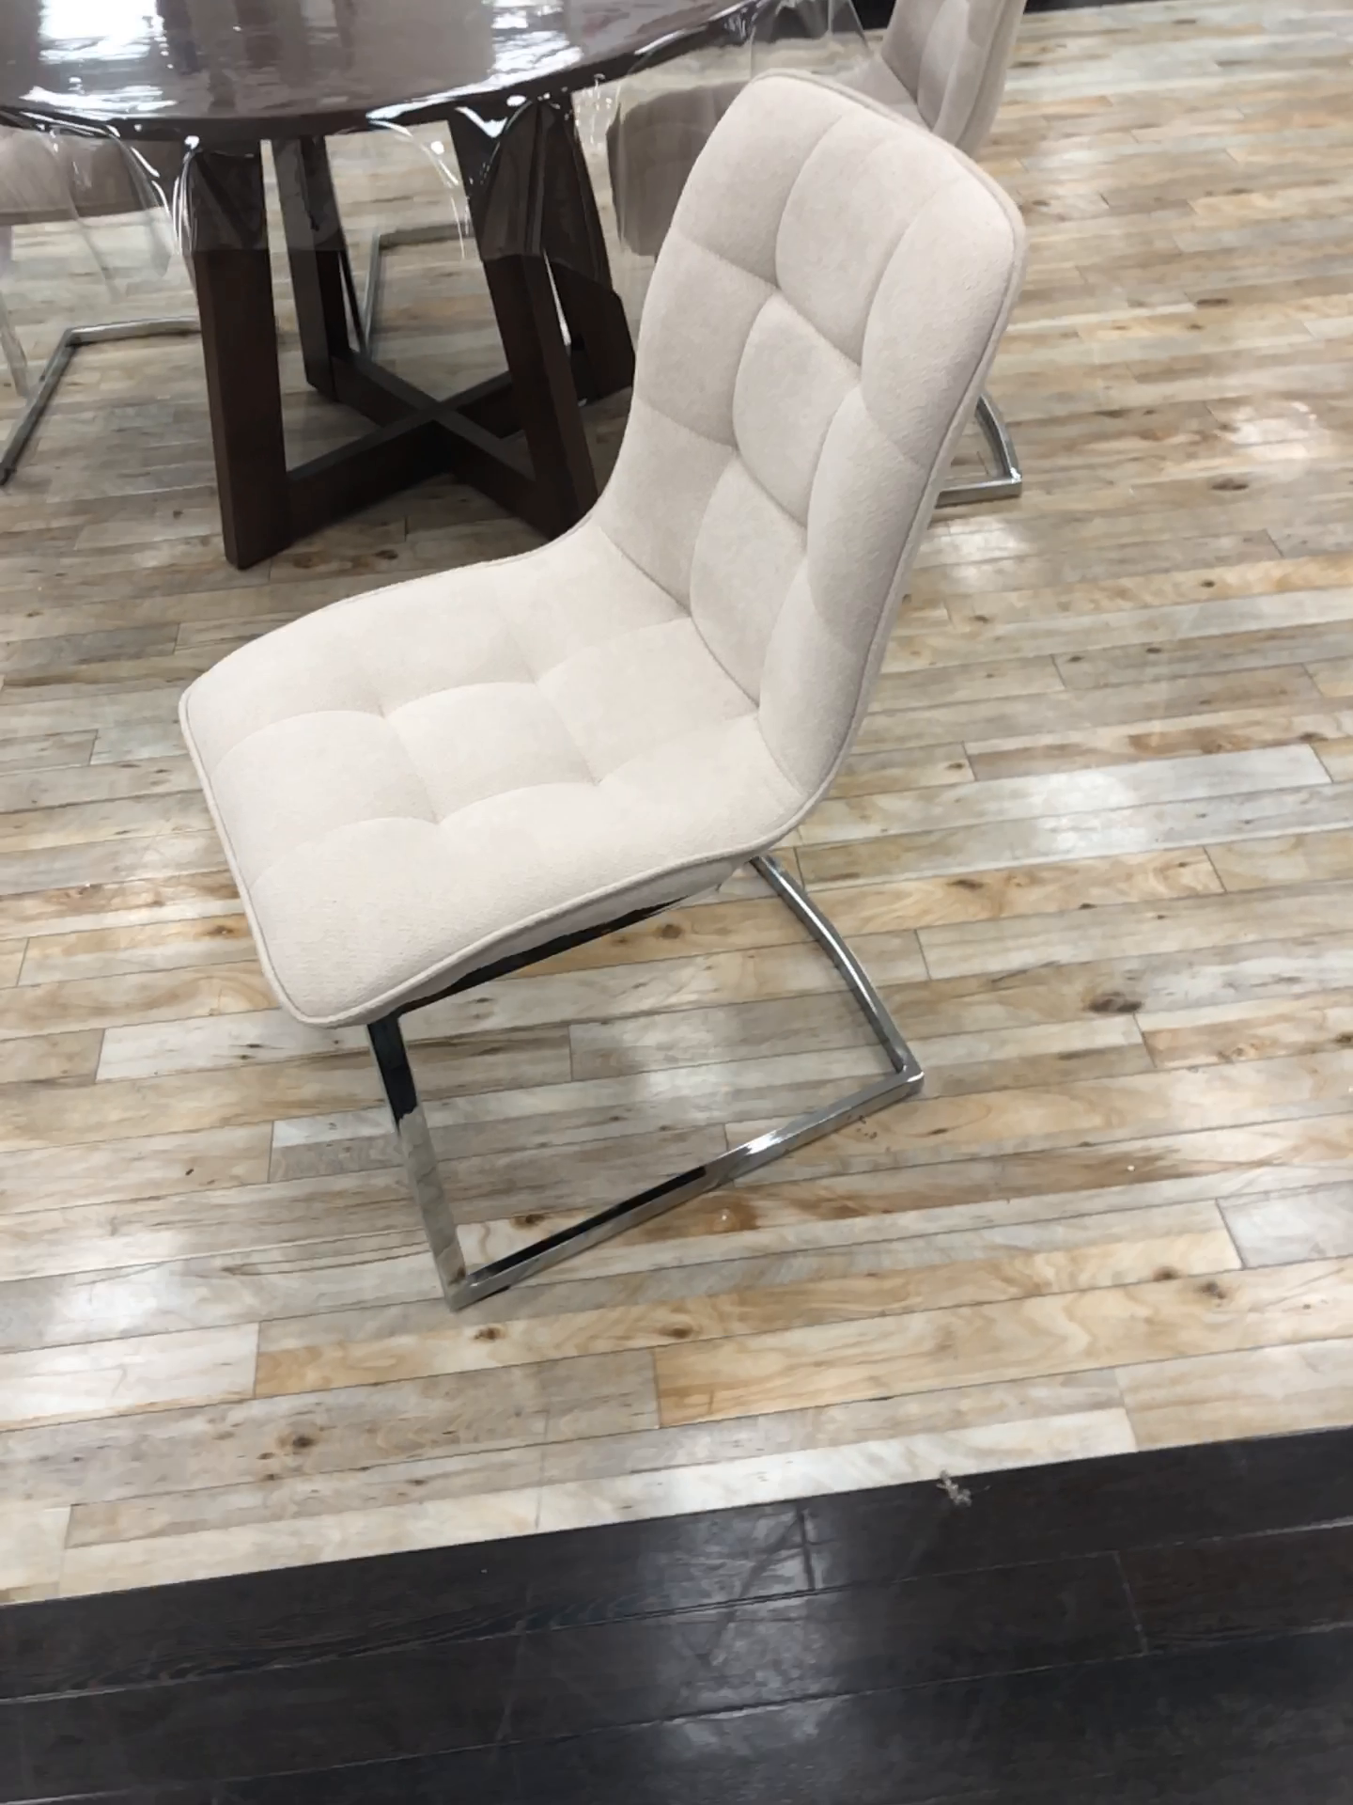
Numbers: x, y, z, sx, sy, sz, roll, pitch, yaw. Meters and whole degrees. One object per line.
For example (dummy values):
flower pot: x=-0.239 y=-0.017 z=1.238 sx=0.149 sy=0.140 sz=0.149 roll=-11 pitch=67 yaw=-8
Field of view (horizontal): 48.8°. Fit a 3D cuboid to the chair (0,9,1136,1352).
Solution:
chair: x=-0.087 y=-0.150 z=1.224 sx=0.590 sy=0.837 sz=0.492 roll=-18 pitch=47 yaw=-13
